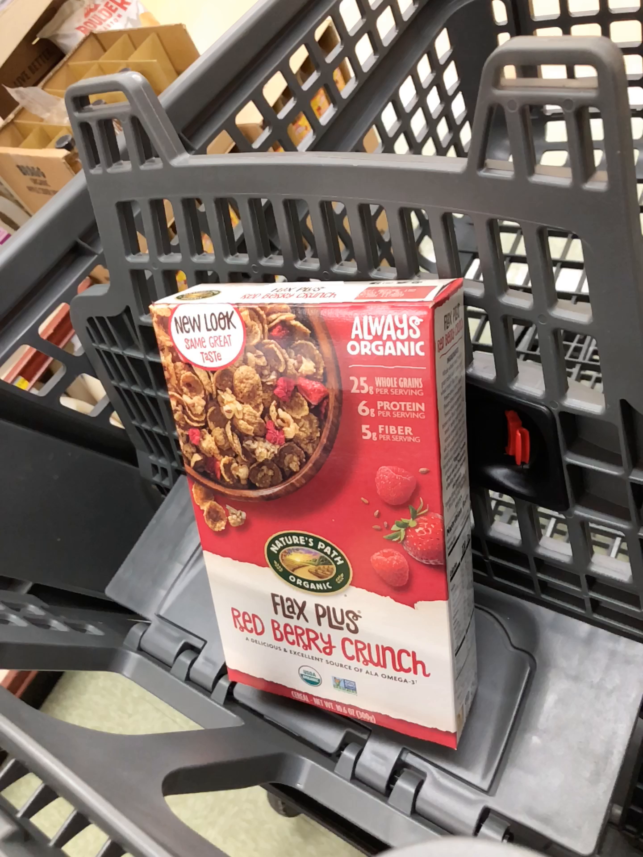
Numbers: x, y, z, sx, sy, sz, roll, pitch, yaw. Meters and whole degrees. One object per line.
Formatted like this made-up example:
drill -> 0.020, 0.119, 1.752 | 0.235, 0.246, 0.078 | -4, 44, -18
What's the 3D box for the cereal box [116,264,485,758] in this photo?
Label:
cereal box -> -0.005, 0.041, 0.408 | 0.170, 0.250, 0.070 | 5, 23, 29
